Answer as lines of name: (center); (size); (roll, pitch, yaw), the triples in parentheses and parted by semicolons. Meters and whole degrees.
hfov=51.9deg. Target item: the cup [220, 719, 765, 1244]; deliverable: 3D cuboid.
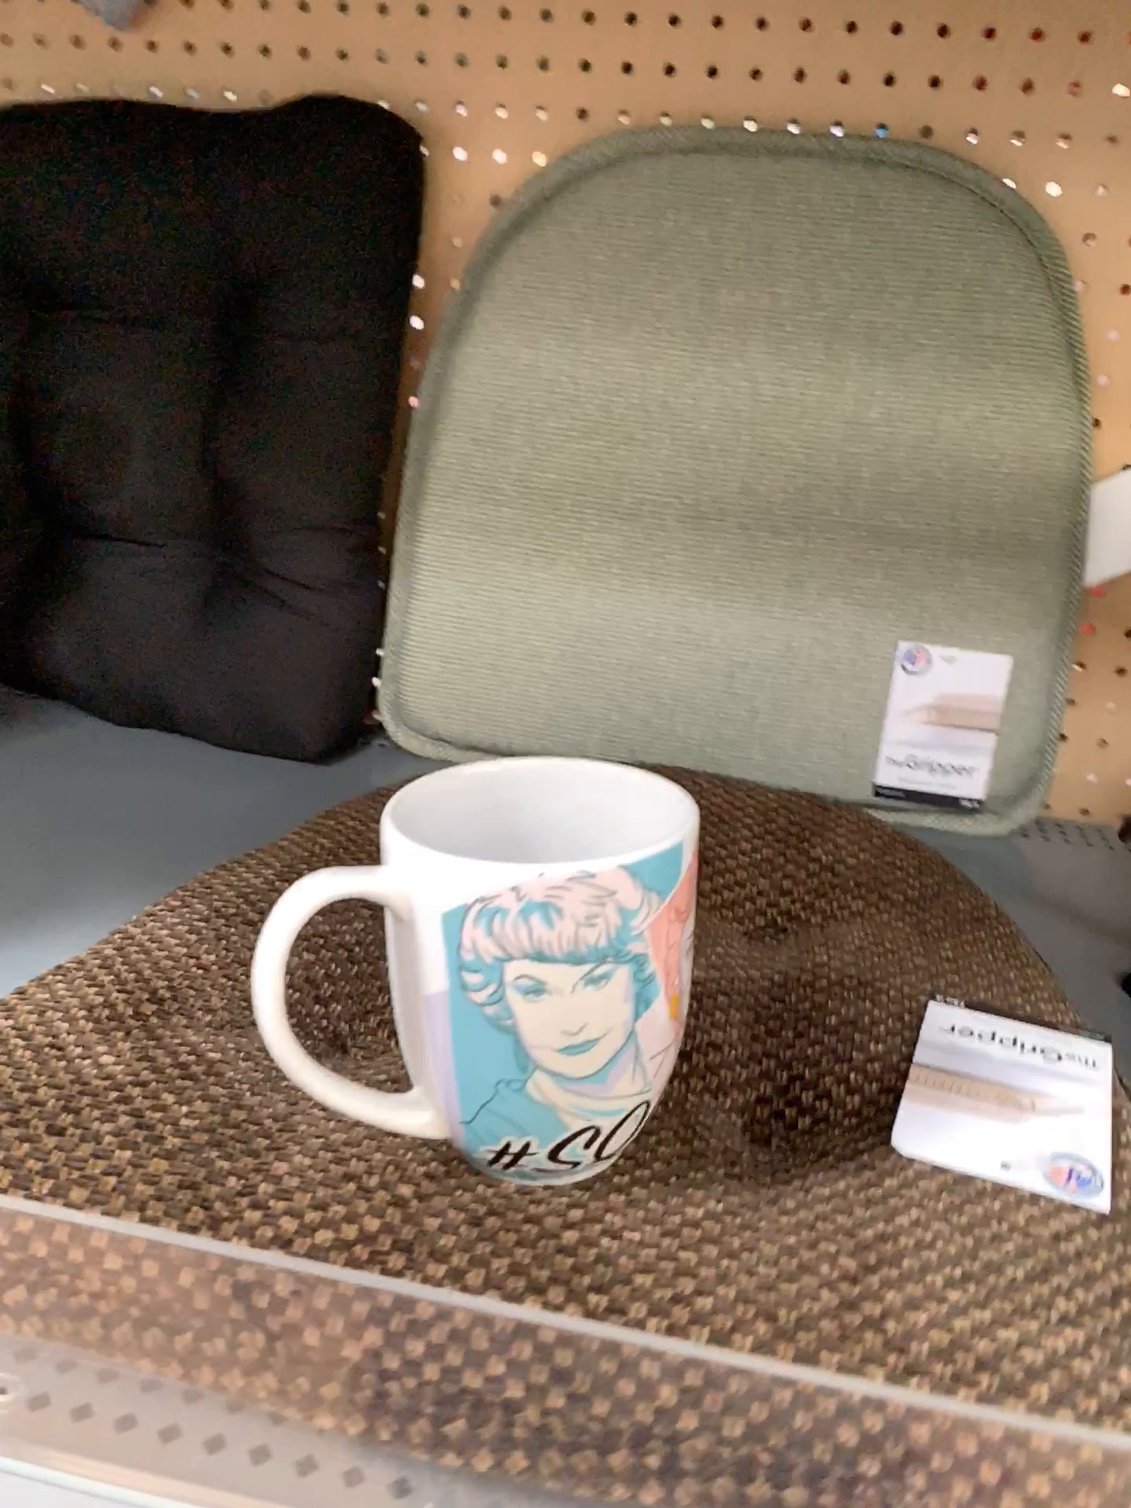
cup: (-0.027, 0.055, 0.333); (0.128, 0.100, 0.090); (-4, 20, -20)
